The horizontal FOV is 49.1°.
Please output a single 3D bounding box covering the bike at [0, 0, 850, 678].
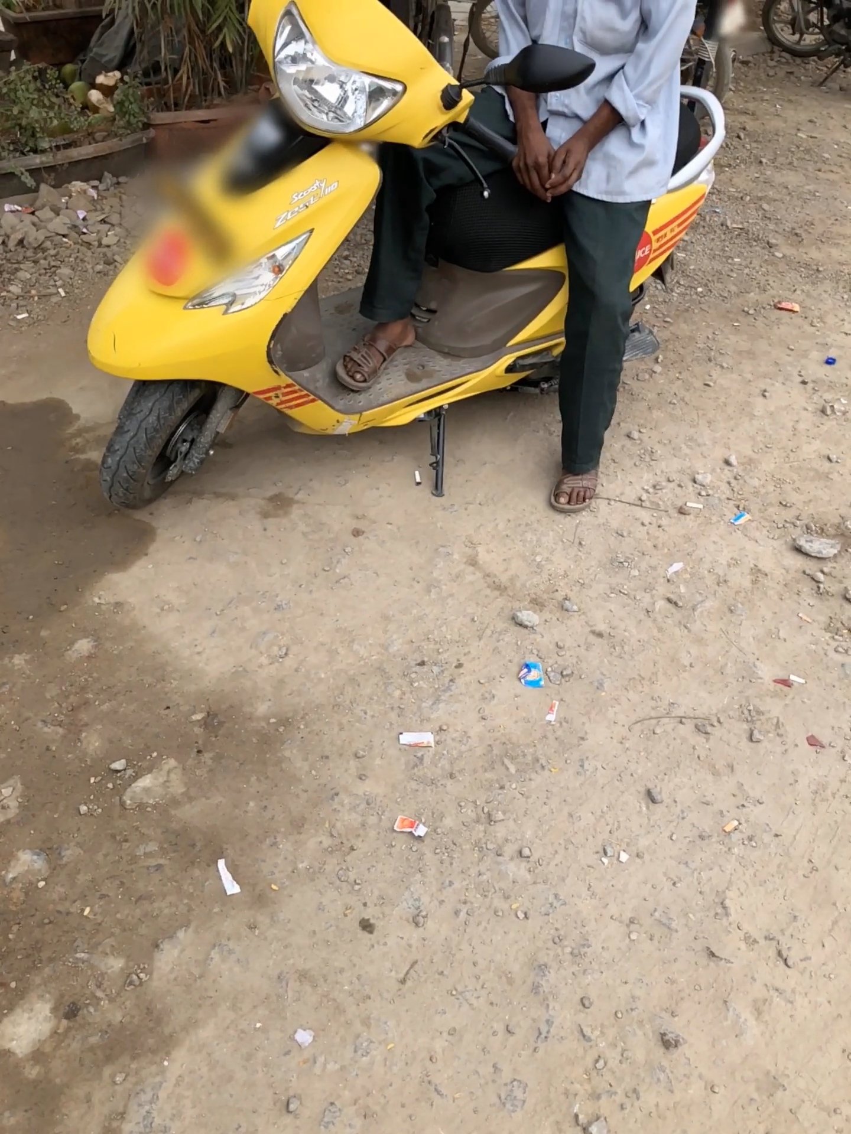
[{"bbox_3d":[-0.010,-0.747,2.299,1.660,1.160,0.891,-23,48,-28],"label":"bike"}]
